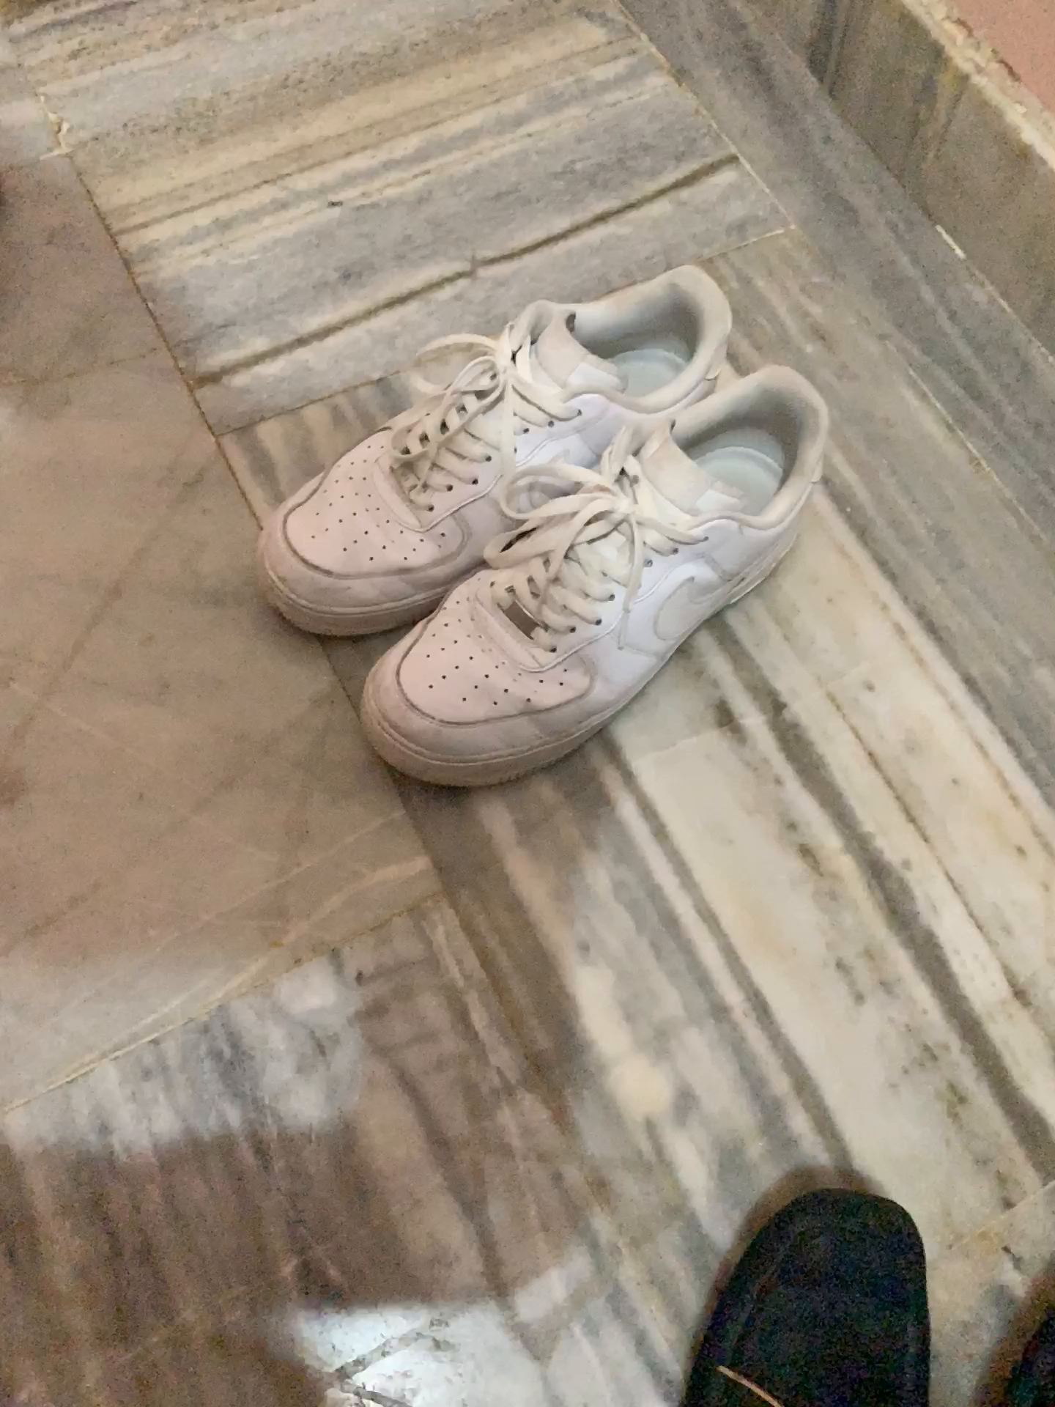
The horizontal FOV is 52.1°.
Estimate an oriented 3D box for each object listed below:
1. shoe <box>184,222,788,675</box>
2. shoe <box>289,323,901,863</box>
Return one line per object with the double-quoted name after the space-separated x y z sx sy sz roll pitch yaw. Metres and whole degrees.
-0.021 -0.150 0.636 0.310 0.120 0.110 -26 72 -14 "shoe"
0.038 -0.062 0.595 0.310 0.120 0.110 -35 74 -17 "shoe"
